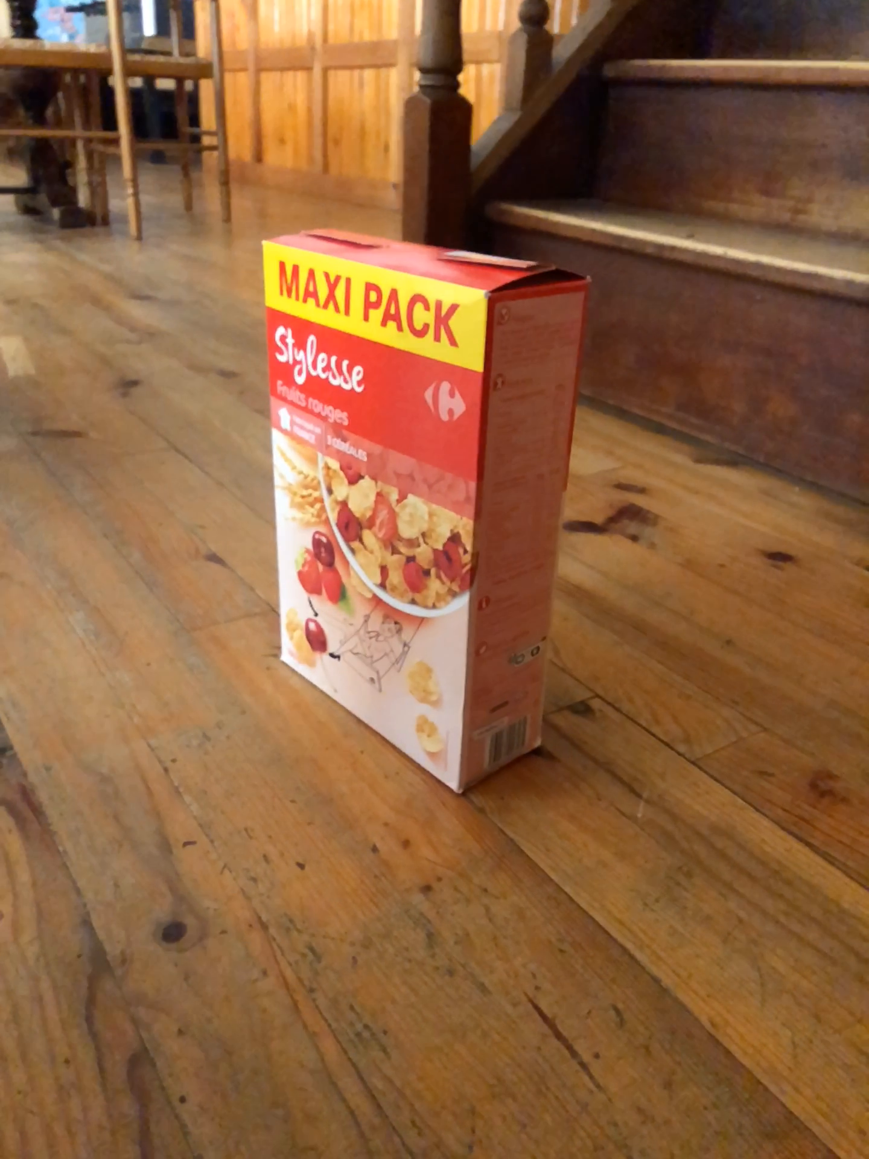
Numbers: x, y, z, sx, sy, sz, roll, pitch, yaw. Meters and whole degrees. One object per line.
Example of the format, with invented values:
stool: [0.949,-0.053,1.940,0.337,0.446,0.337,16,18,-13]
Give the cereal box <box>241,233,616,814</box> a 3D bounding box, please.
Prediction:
cereal box: [-0.018,-0.045,0.584,0.090,0.288,0.210,-18,33,-37]
